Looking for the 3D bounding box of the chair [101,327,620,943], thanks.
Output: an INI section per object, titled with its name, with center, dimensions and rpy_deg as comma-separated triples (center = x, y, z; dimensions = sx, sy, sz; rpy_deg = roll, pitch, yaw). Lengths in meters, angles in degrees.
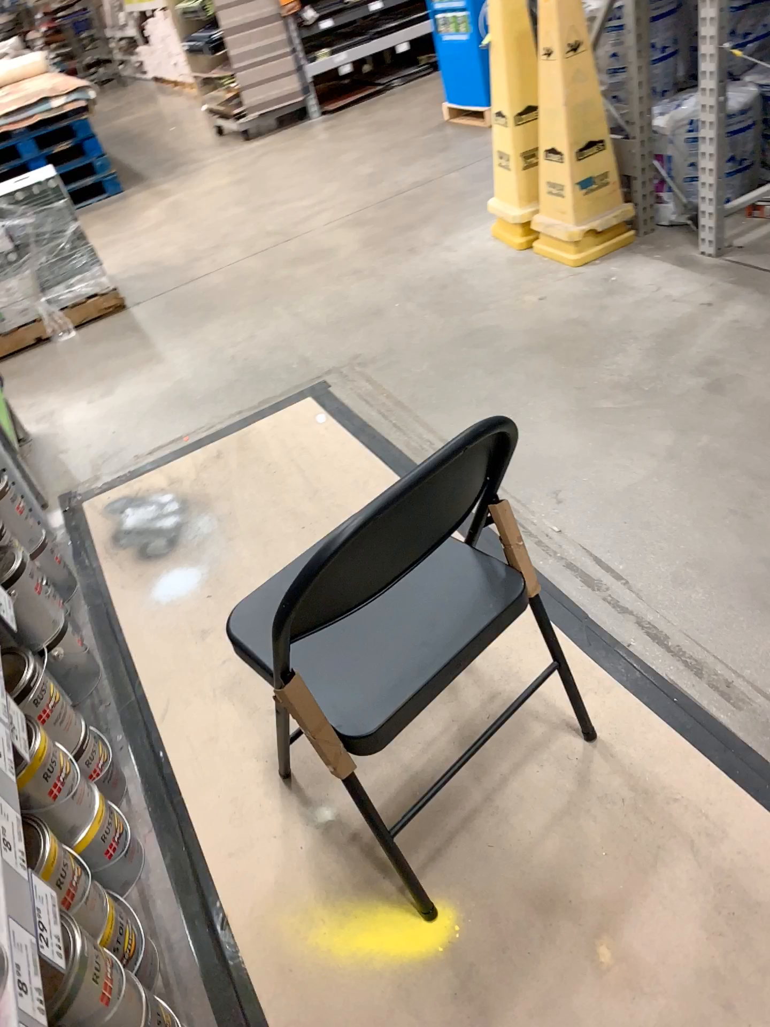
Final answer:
[chair]
center = 0.008, 0.173, 1.234
dimensions = 0.452, 0.713, 0.476
rpy_deg = -37, 41, -24
